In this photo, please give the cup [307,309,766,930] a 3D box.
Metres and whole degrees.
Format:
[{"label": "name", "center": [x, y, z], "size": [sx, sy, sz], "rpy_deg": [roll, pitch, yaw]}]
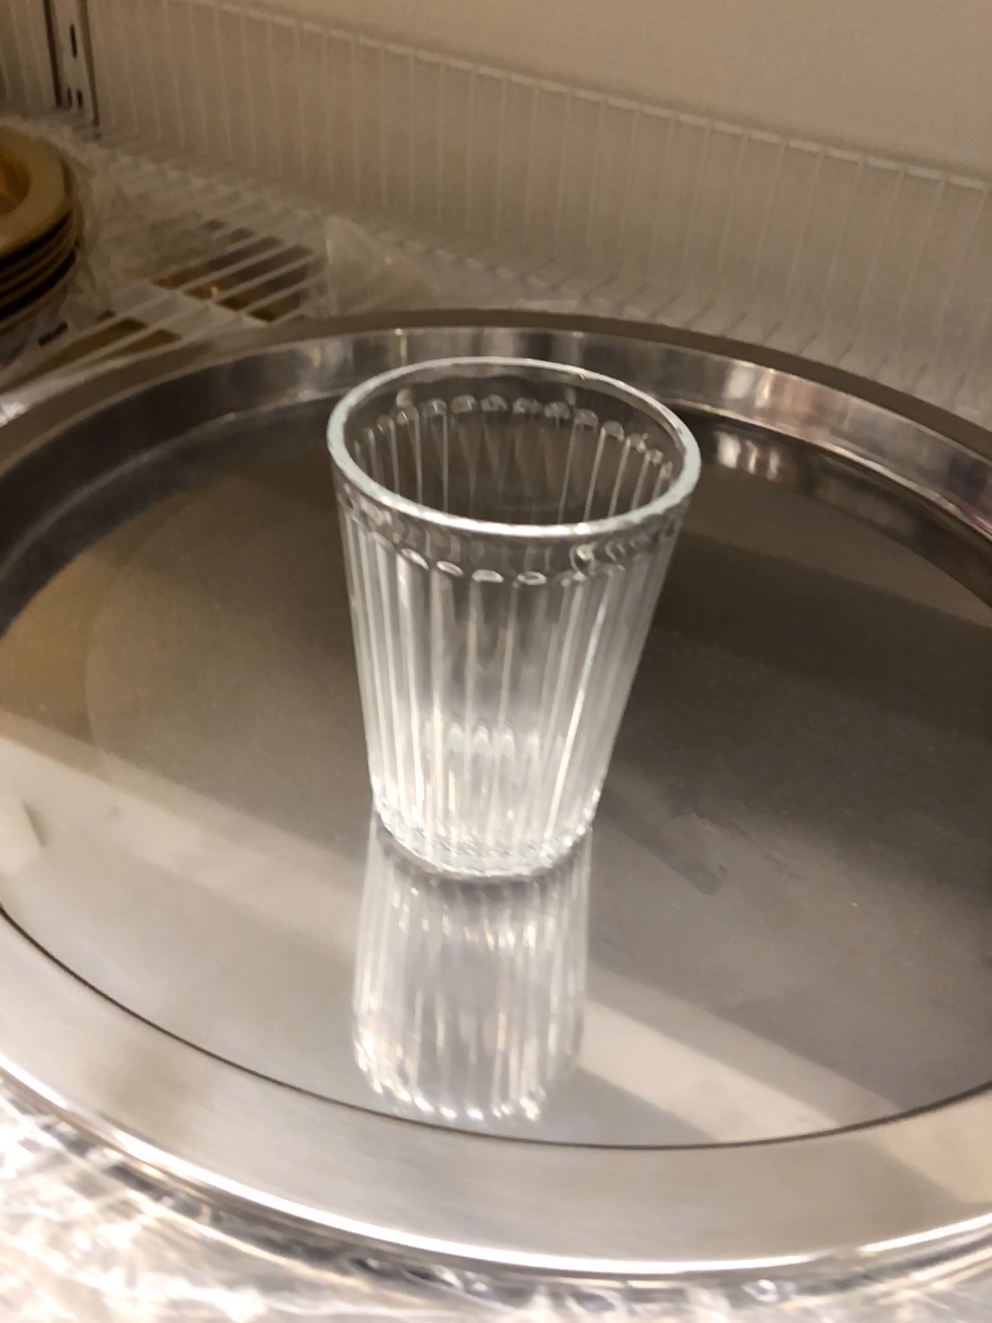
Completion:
[{"label": "cup", "center": [0.006, -0.008, 0.226], "size": [0.070, 0.100, 0.070], "rpy_deg": [2, 37, -2]}]
